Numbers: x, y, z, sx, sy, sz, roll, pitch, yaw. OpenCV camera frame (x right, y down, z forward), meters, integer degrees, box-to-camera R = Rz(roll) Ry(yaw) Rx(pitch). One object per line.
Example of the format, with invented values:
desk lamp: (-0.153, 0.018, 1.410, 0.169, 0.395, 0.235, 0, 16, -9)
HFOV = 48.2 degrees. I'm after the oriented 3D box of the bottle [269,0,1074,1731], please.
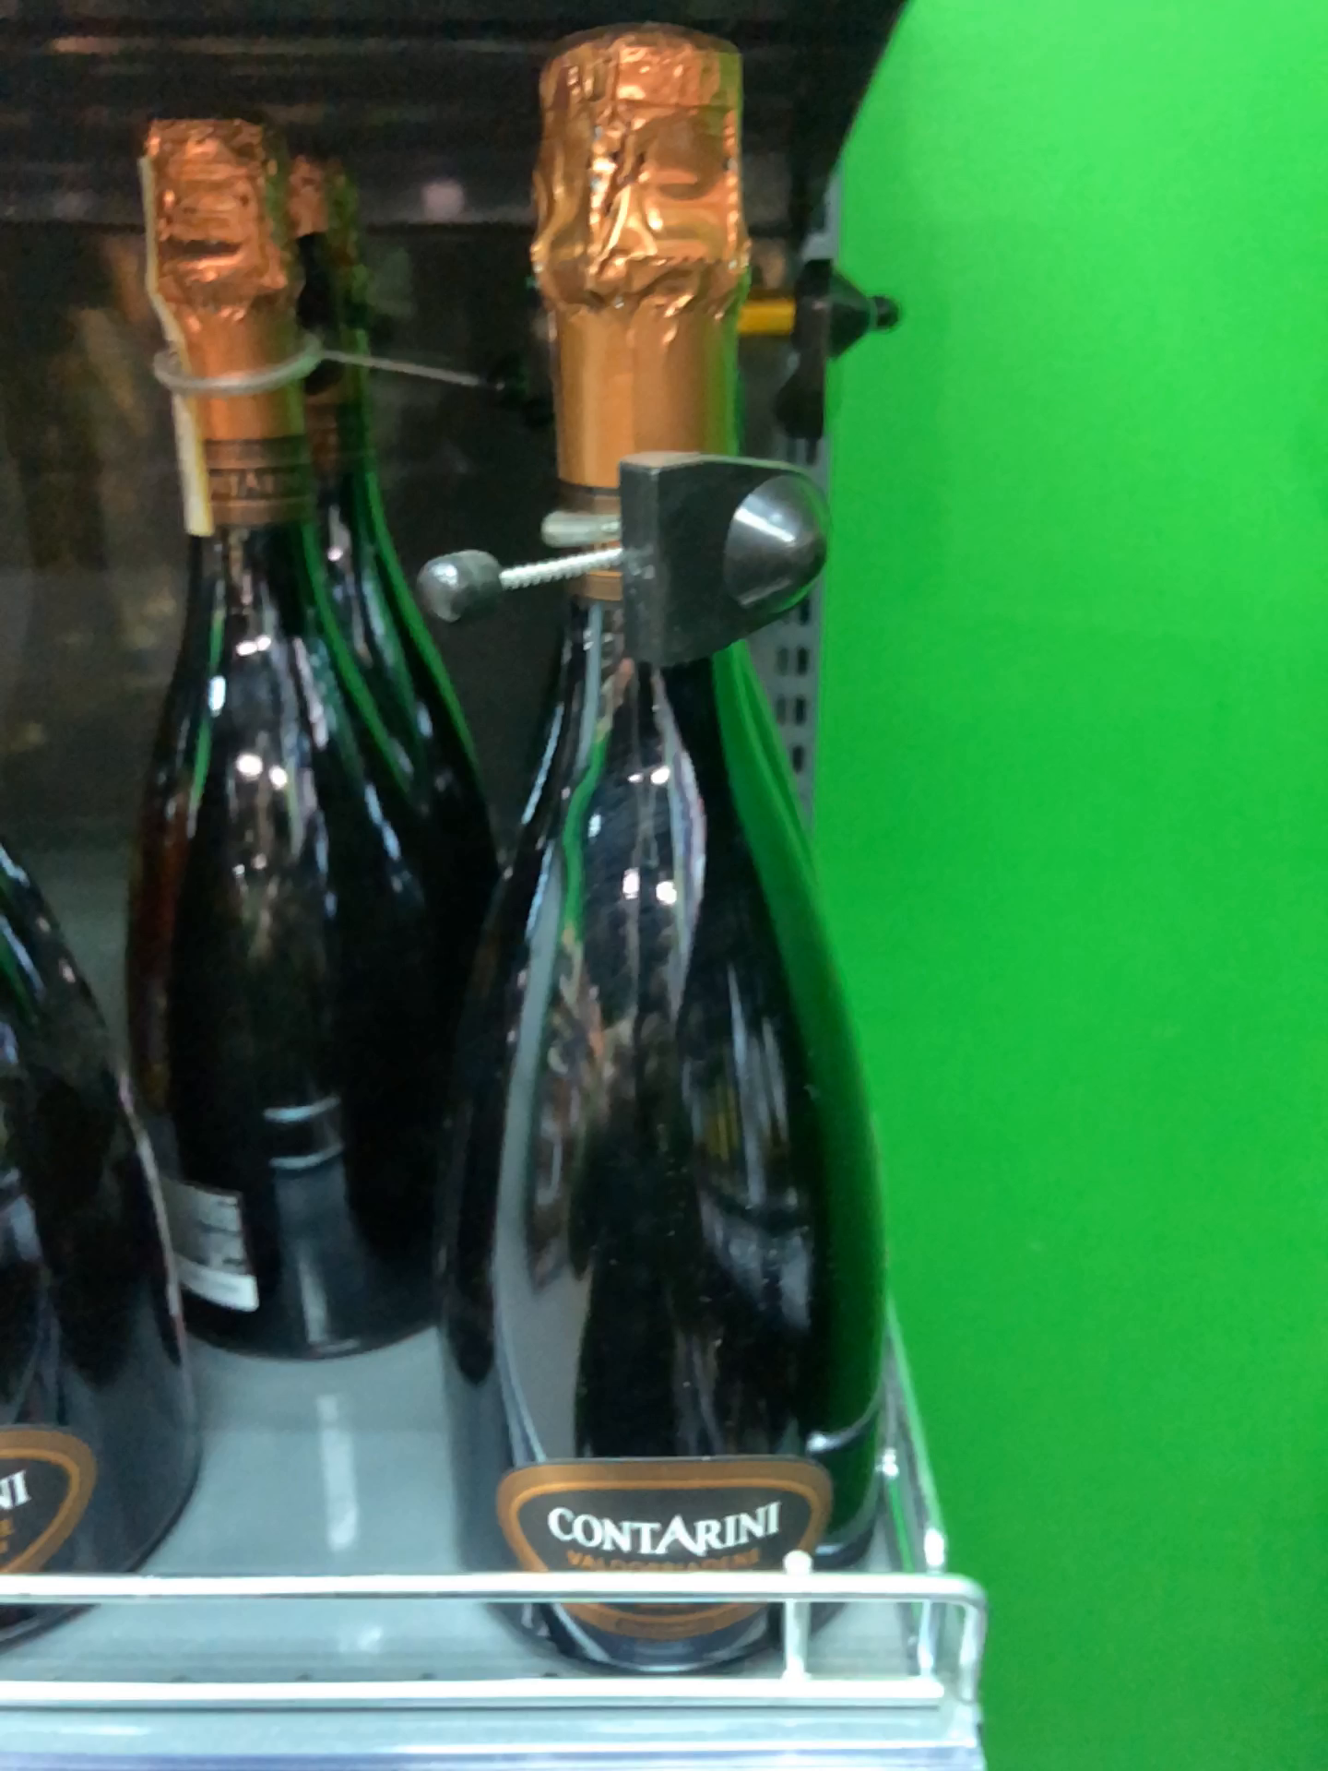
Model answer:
bottle: (-0.001, 0.004, 0.282, 0.100, 0.299, 0.100, 0, 20, 0)
